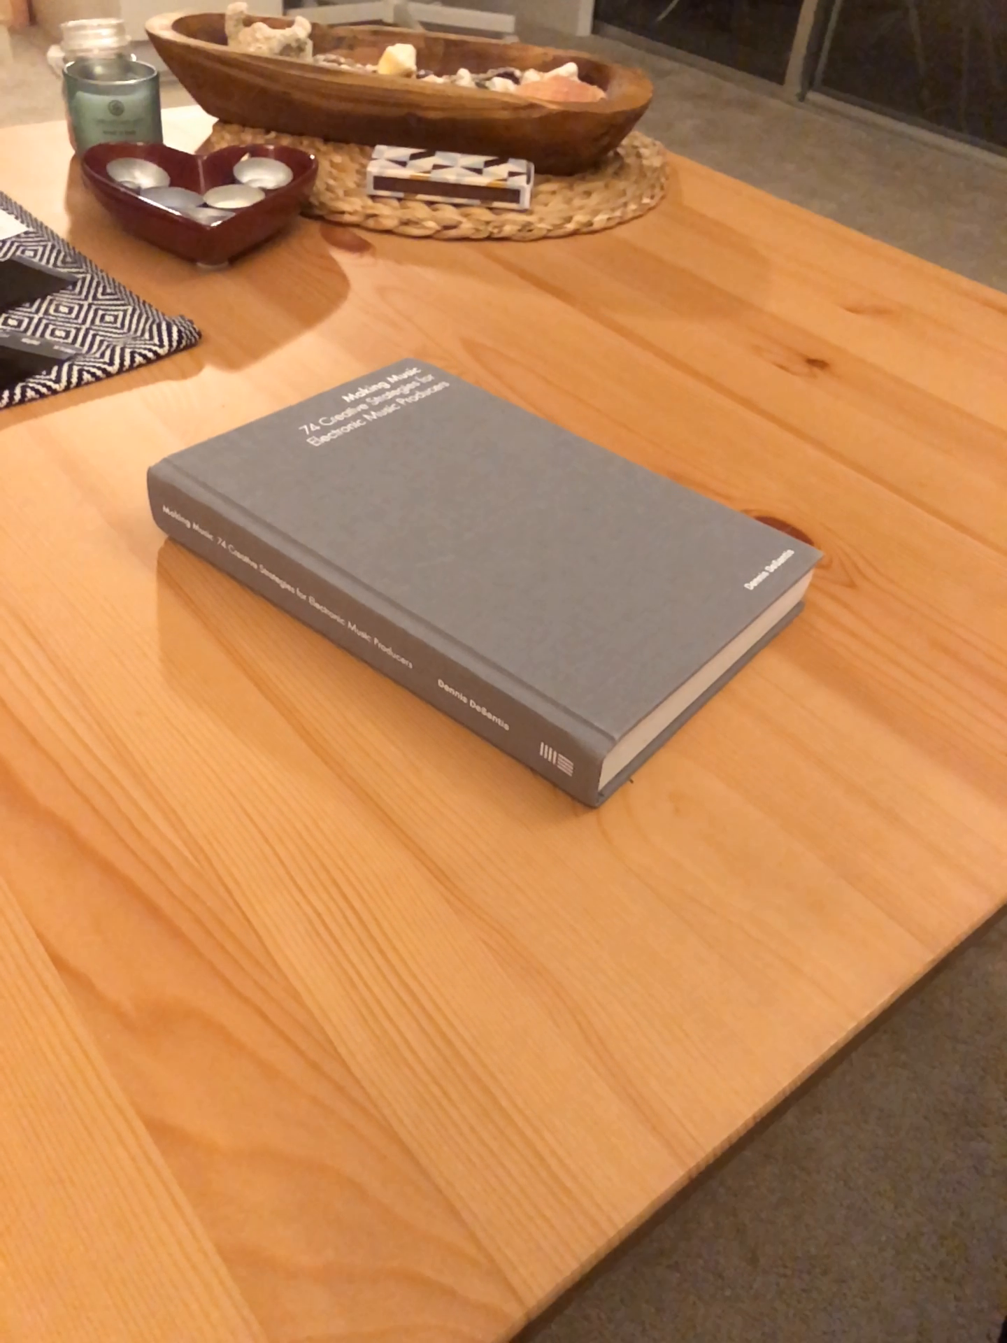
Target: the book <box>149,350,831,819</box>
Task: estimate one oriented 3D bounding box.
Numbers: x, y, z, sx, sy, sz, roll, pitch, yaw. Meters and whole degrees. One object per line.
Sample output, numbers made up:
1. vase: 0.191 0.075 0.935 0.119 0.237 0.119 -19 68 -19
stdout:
1. book: -0.006 -0.055 0.465 0.227 0.030 0.167 32 47 25
